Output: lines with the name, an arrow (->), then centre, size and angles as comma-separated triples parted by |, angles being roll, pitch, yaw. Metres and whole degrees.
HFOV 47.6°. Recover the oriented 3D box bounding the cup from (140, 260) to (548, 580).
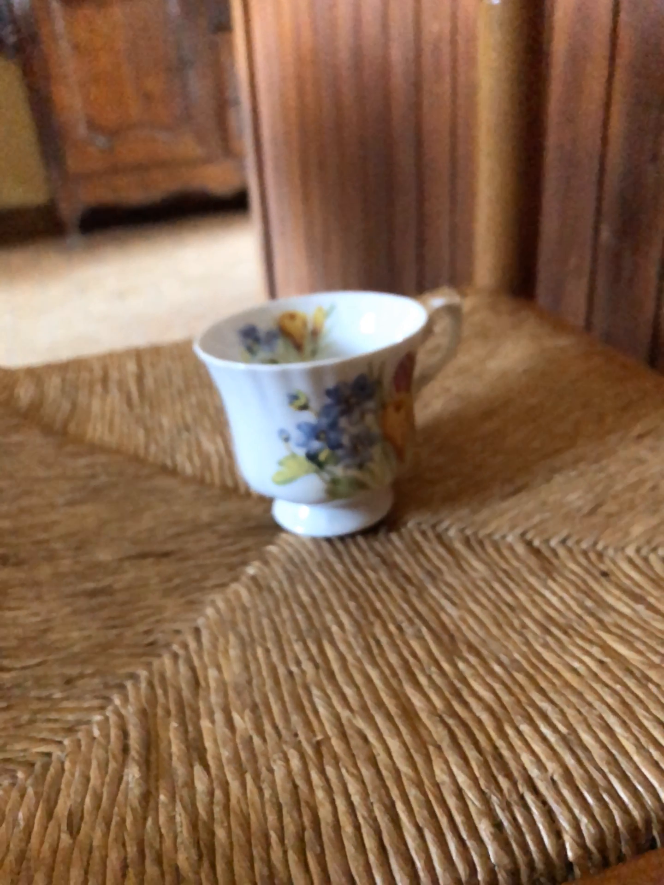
cup -> 0.004, -0.019, 0.305 | 0.130, 0.070, 0.090 | -18, 30, -23
